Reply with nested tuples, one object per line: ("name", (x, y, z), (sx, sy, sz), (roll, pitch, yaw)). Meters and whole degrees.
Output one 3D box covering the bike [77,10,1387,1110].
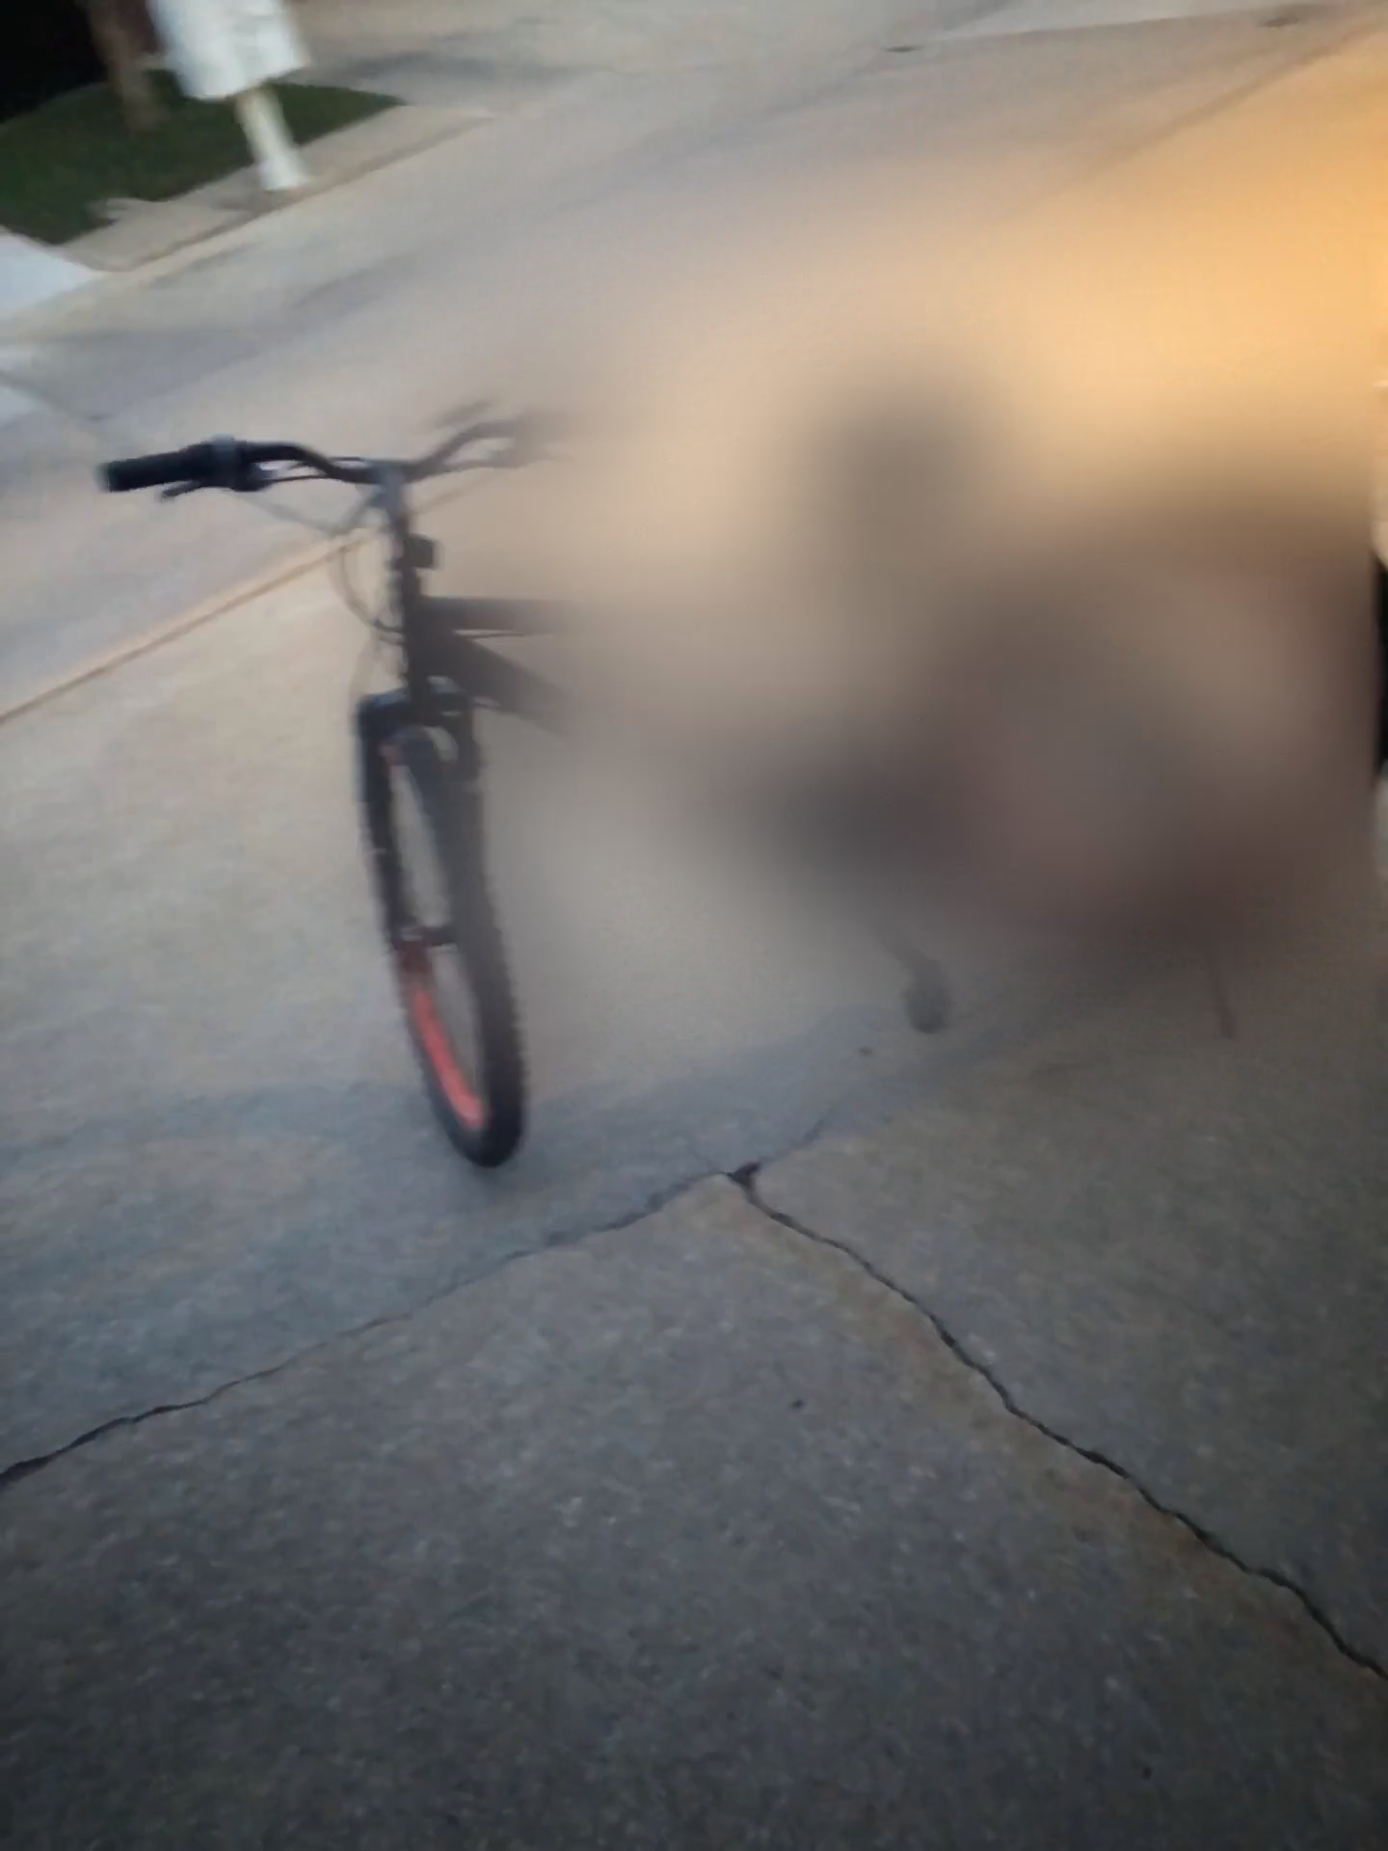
("bike", (0.156, -0.378, 1.940), (1.426, 1.031, 0.600), (-7, 36, 15))
